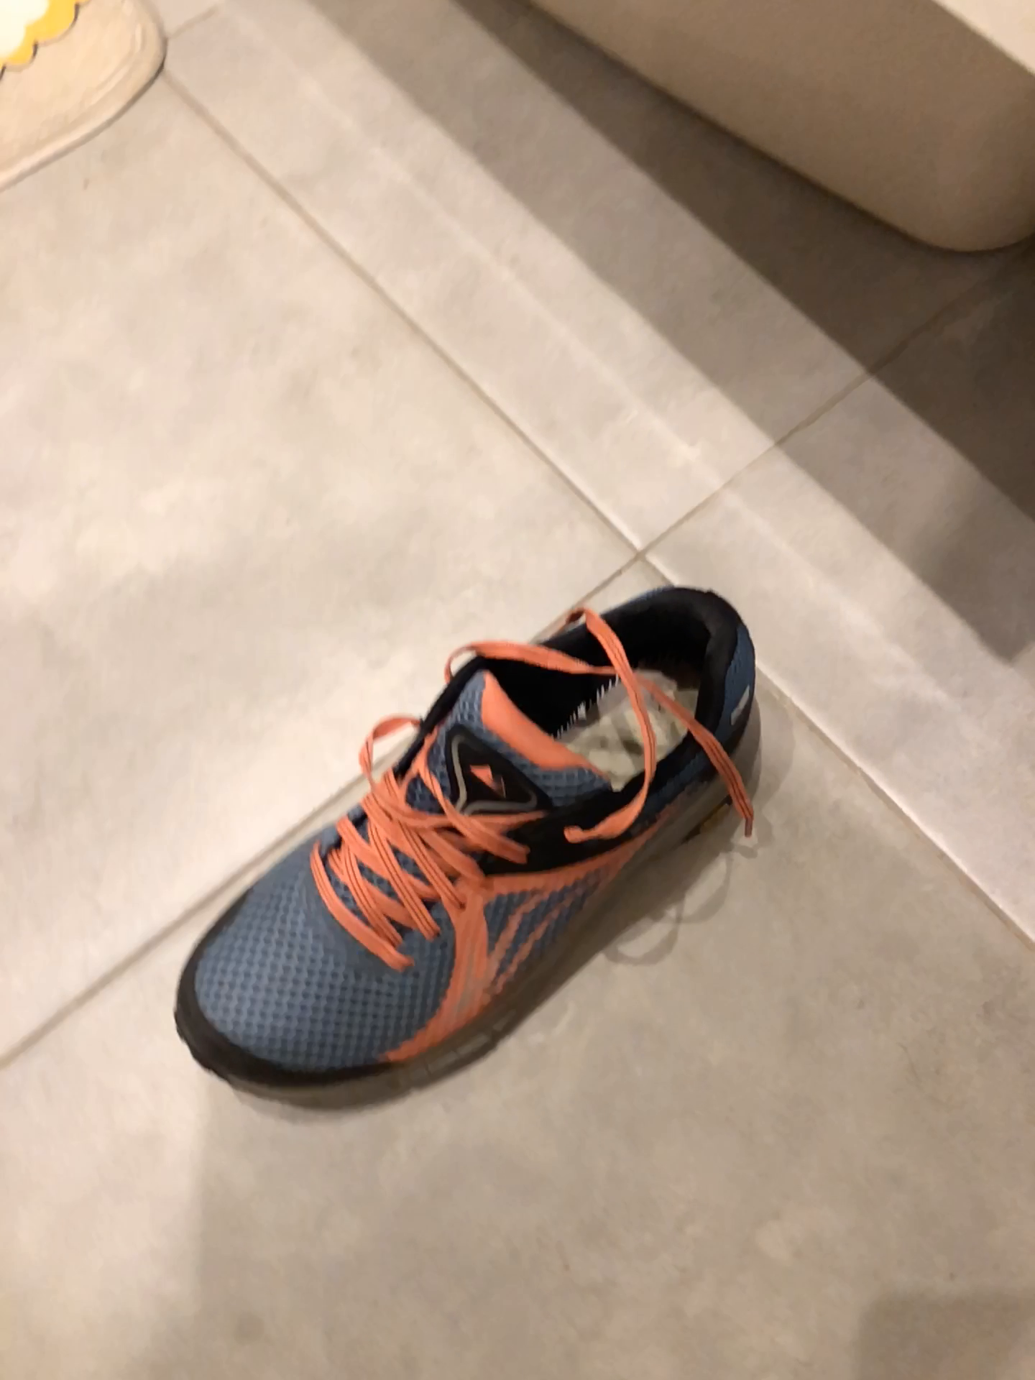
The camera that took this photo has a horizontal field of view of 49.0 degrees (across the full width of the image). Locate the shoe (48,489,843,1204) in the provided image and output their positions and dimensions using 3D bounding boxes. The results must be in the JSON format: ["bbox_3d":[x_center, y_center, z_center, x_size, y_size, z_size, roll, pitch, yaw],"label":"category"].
[{"bbox_3d":[-0.020,0.055,0.422,0.250,0.090,0.110,-37,73,-11],"label":"shoe"}]
